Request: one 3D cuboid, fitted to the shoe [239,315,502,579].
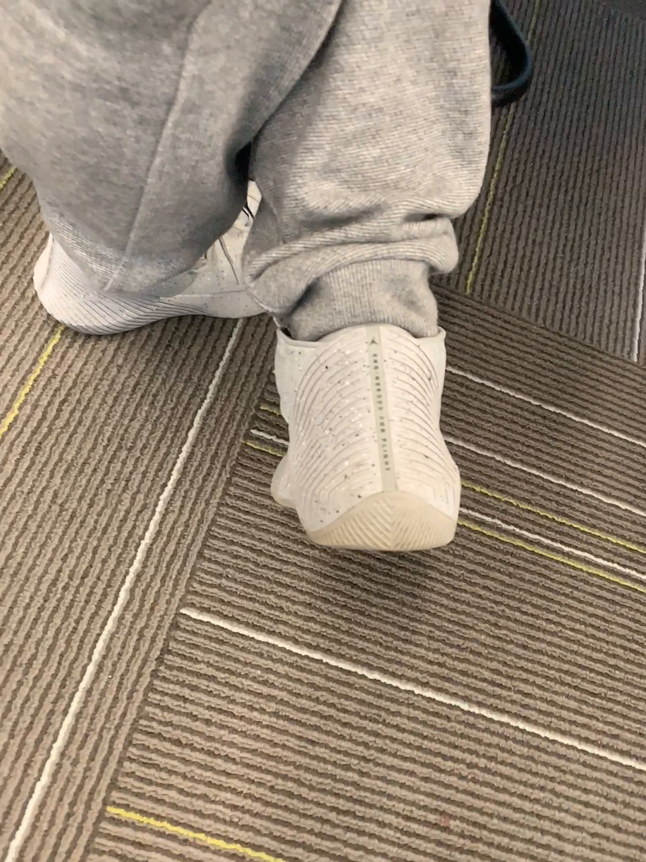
[{"bbox_3d":[0.022,0.007,0.454,0.120,0.280,0.120,-3,90,0],"label":"shoe"}]

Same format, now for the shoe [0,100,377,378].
[{"bbox_3d":[-0.121,-0.176,0.609,0.280,0.150,0.130,-19,74,-21],"label":"shoe"}]
